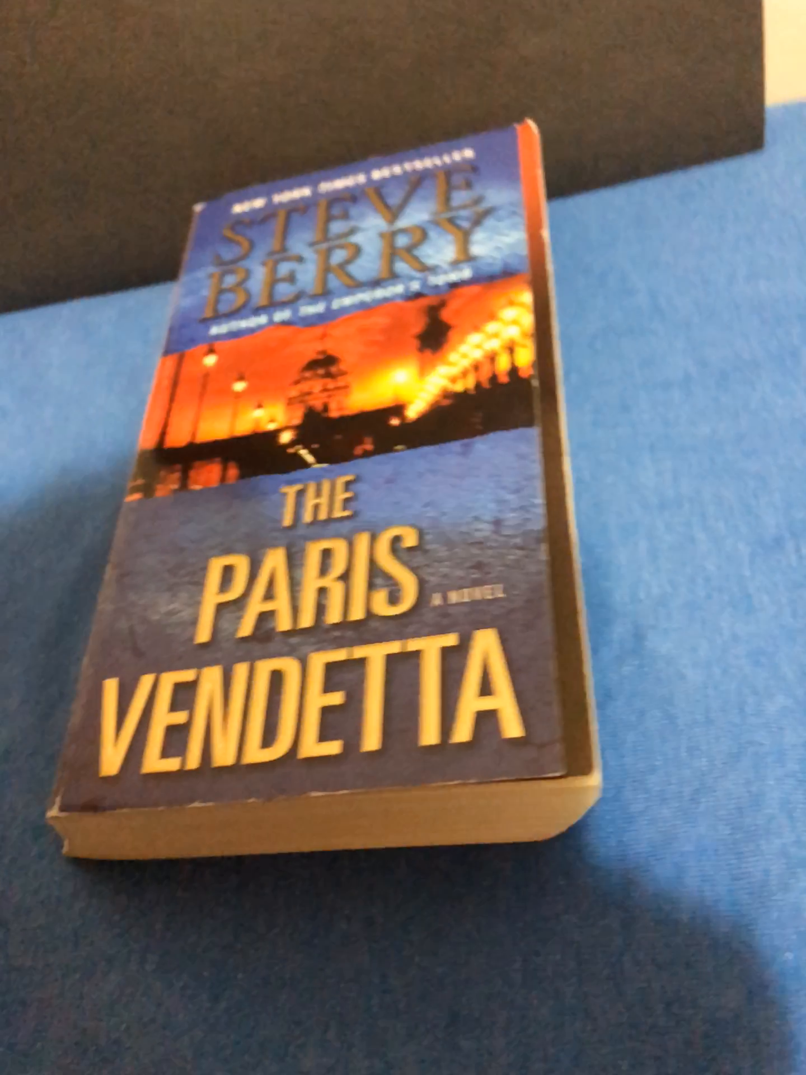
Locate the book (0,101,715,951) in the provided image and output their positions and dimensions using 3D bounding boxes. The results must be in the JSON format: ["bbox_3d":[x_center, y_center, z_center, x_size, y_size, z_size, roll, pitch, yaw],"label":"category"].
[{"bbox_3d":[-0.003,-0.018,0.217,0.120,0.050,0.200,-2,54,11],"label":"book"}]
